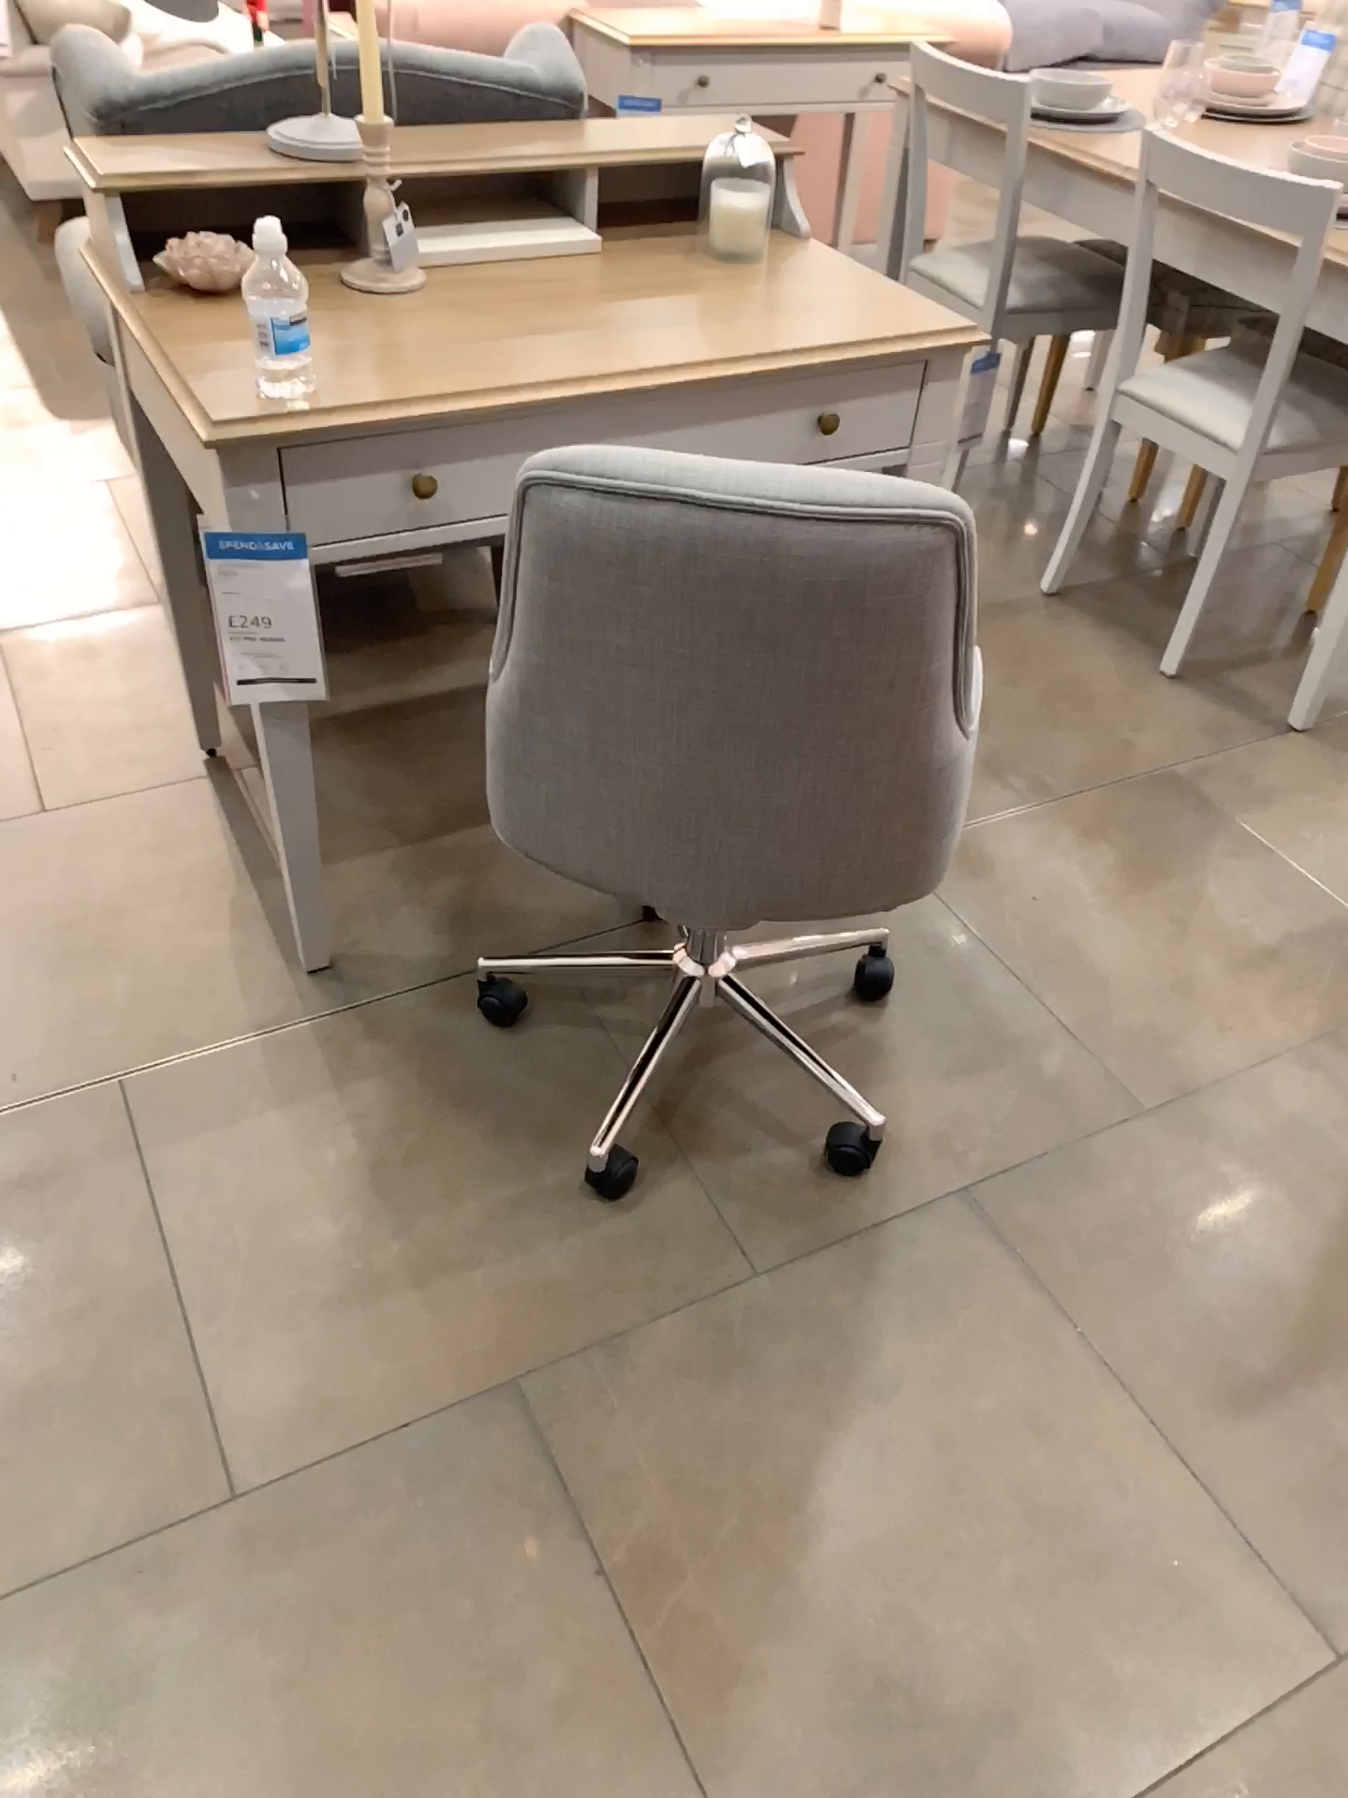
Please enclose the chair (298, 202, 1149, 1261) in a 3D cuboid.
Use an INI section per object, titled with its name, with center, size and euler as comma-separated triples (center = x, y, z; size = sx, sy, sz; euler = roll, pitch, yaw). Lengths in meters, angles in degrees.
[chair]
center = 0.046, -0.179, 1.525
size = 0.624, 0.890, 0.642
euler = 8, 40, 4
